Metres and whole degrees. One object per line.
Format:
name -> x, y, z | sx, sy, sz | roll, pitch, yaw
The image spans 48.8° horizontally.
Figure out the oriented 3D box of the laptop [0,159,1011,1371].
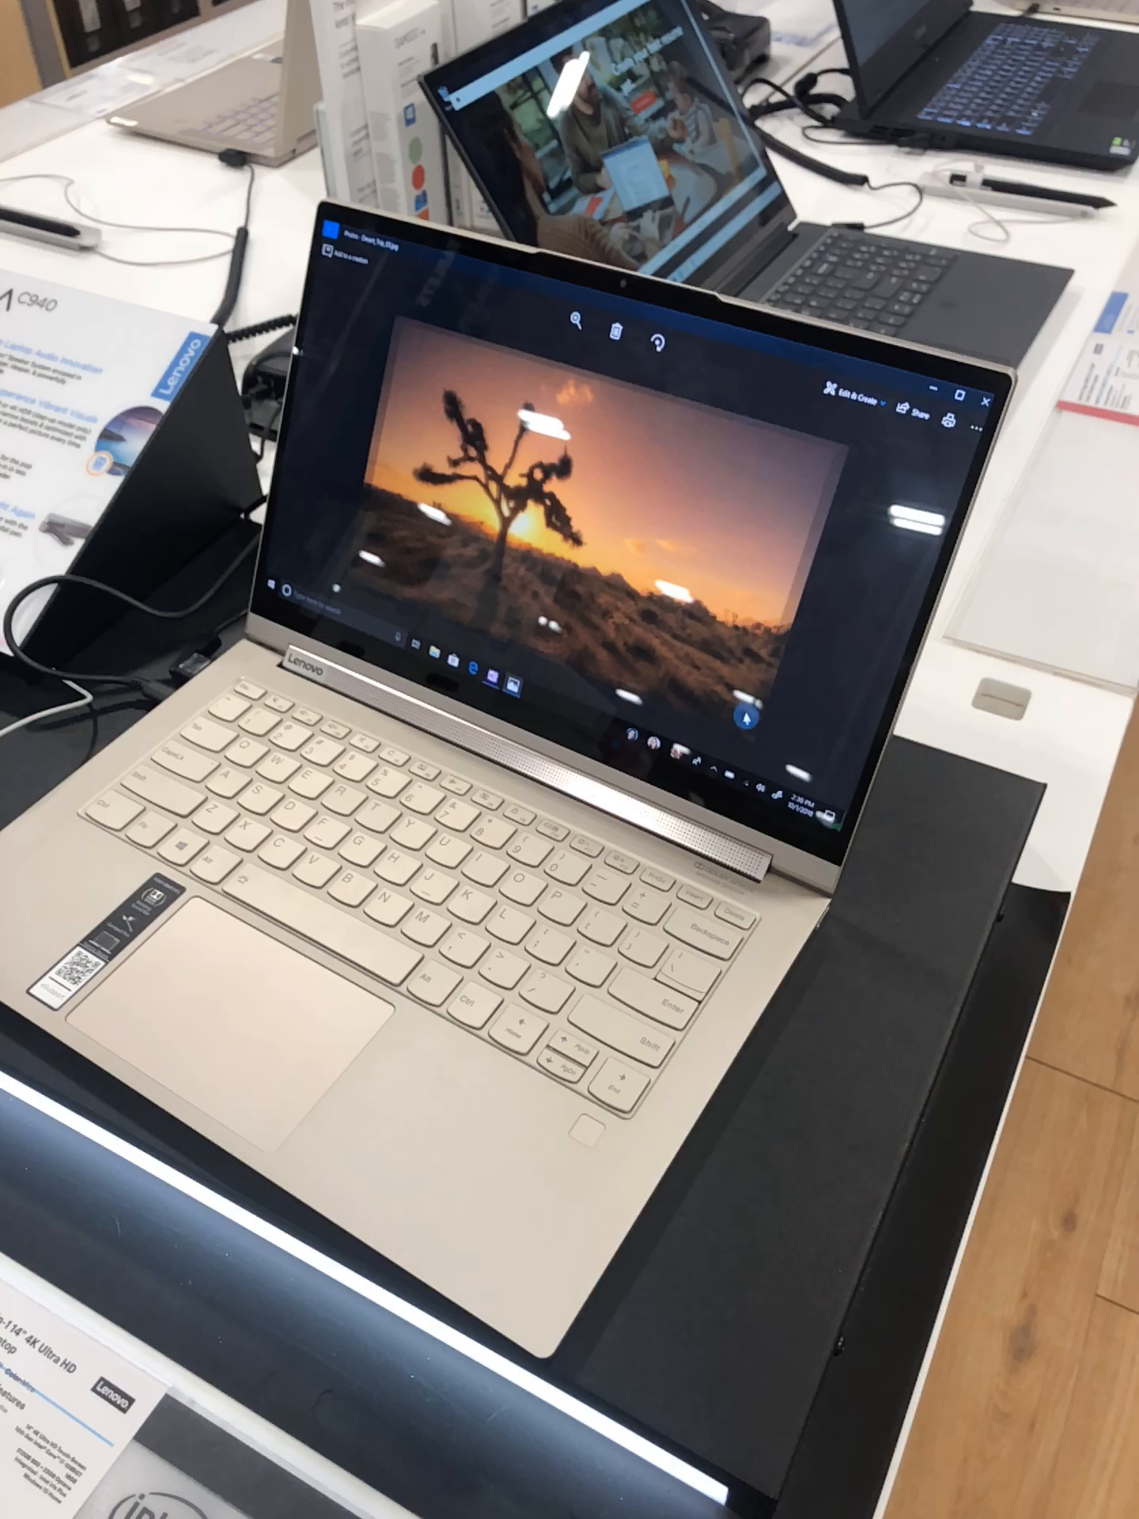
laptop -> -0.062, -0.045, 0.477 | 0.320, 0.170, 0.327 | 24, 54, 24
